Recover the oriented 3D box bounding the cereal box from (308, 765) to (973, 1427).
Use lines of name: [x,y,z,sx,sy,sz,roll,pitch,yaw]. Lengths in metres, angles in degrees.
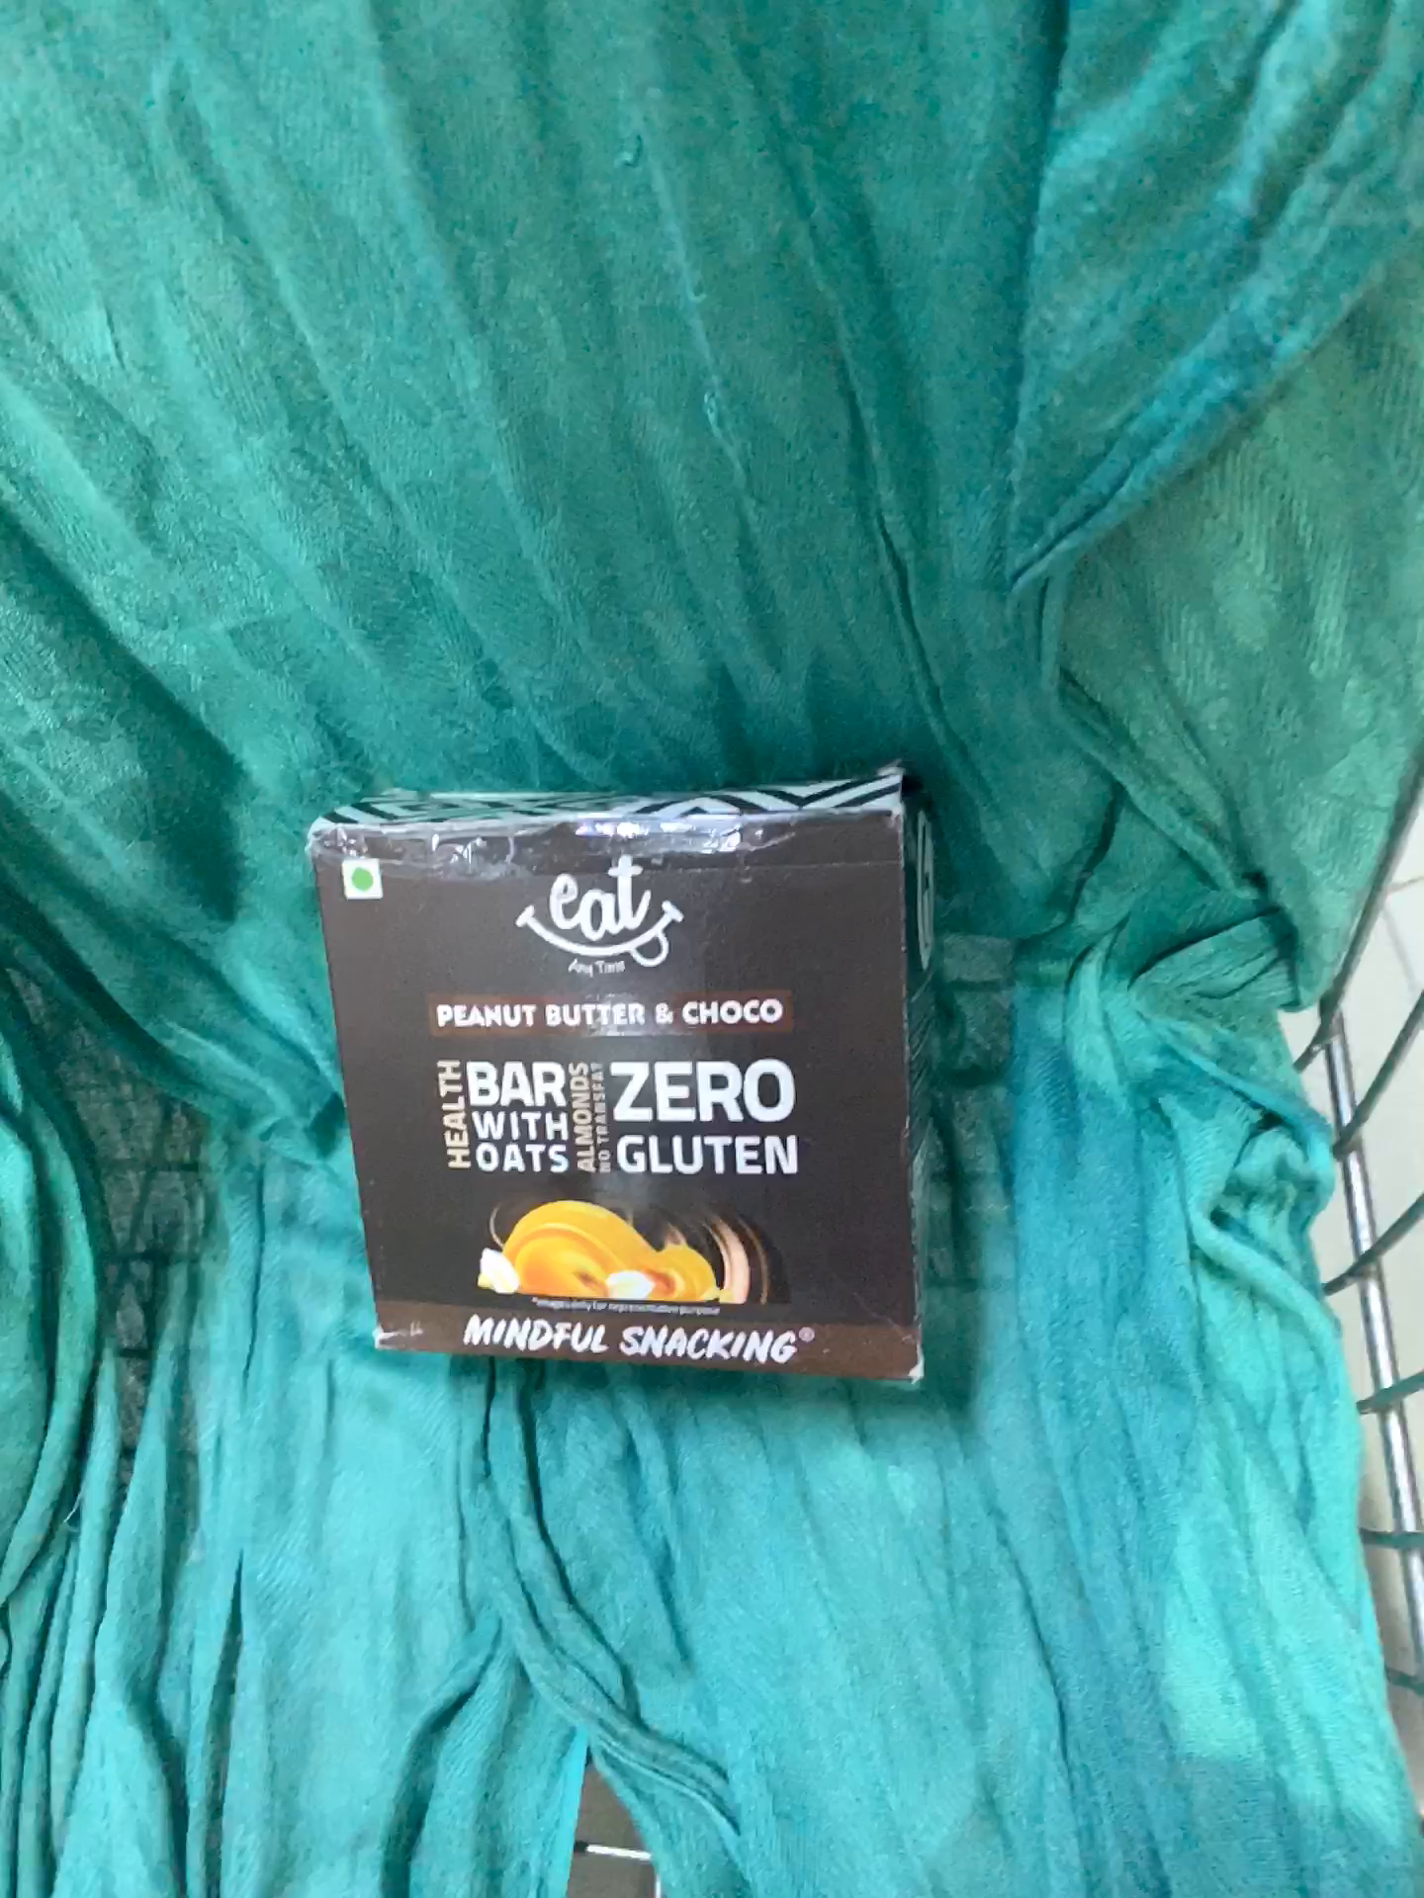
cereal box: [-0.010,0.029,0.371,0.140,0.090,0.140,-1,99,14]
